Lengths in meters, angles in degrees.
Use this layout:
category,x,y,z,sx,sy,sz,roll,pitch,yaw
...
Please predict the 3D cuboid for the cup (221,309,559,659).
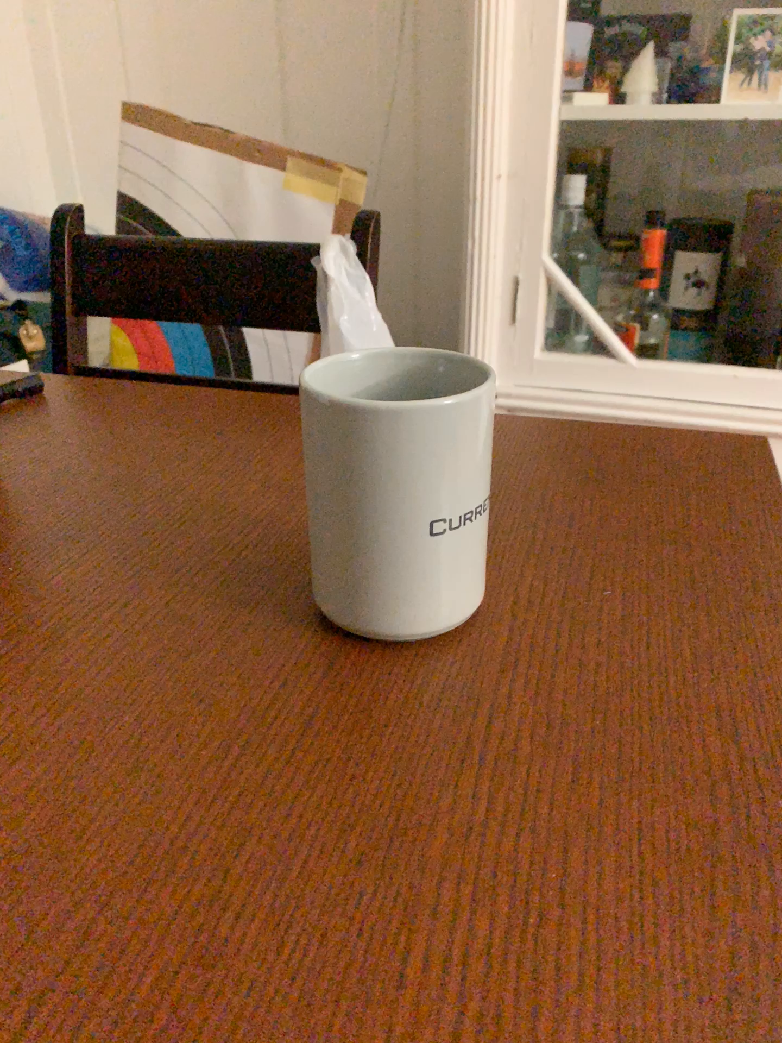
category,x,y,z,sx,sy,sz,roll,pitch,yaw
cup,0.007,-0.030,0.391,0.100,0.109,0.140,13,29,25
